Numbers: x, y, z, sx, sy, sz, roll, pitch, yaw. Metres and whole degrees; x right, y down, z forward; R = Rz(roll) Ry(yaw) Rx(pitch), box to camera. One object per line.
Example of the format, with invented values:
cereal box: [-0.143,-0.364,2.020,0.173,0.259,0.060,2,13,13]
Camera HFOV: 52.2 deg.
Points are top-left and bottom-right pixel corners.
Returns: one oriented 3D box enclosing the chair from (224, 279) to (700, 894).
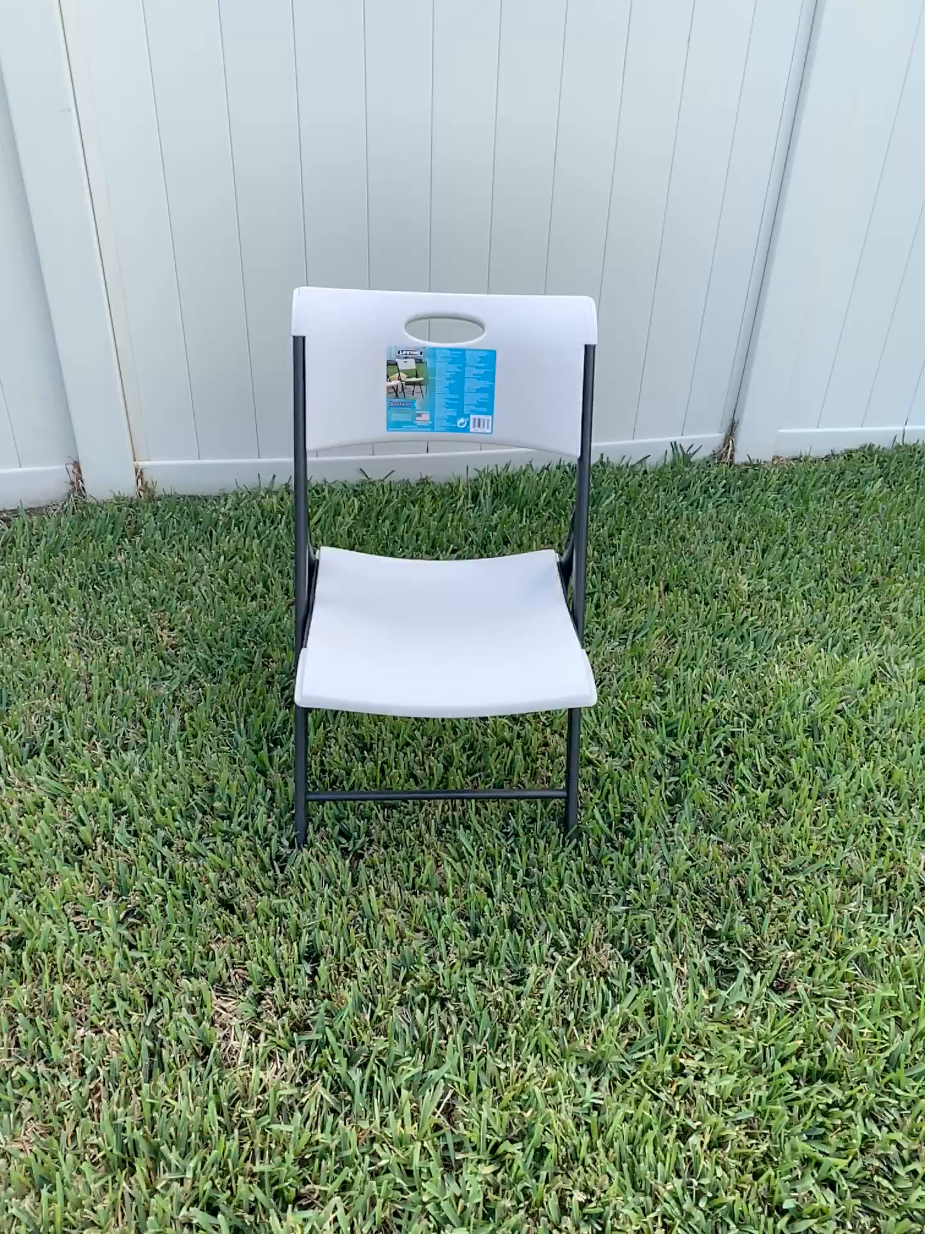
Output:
chair: [-0.027,-0.051,1.446,0.518,0.766,0.519,0,32,-4]
